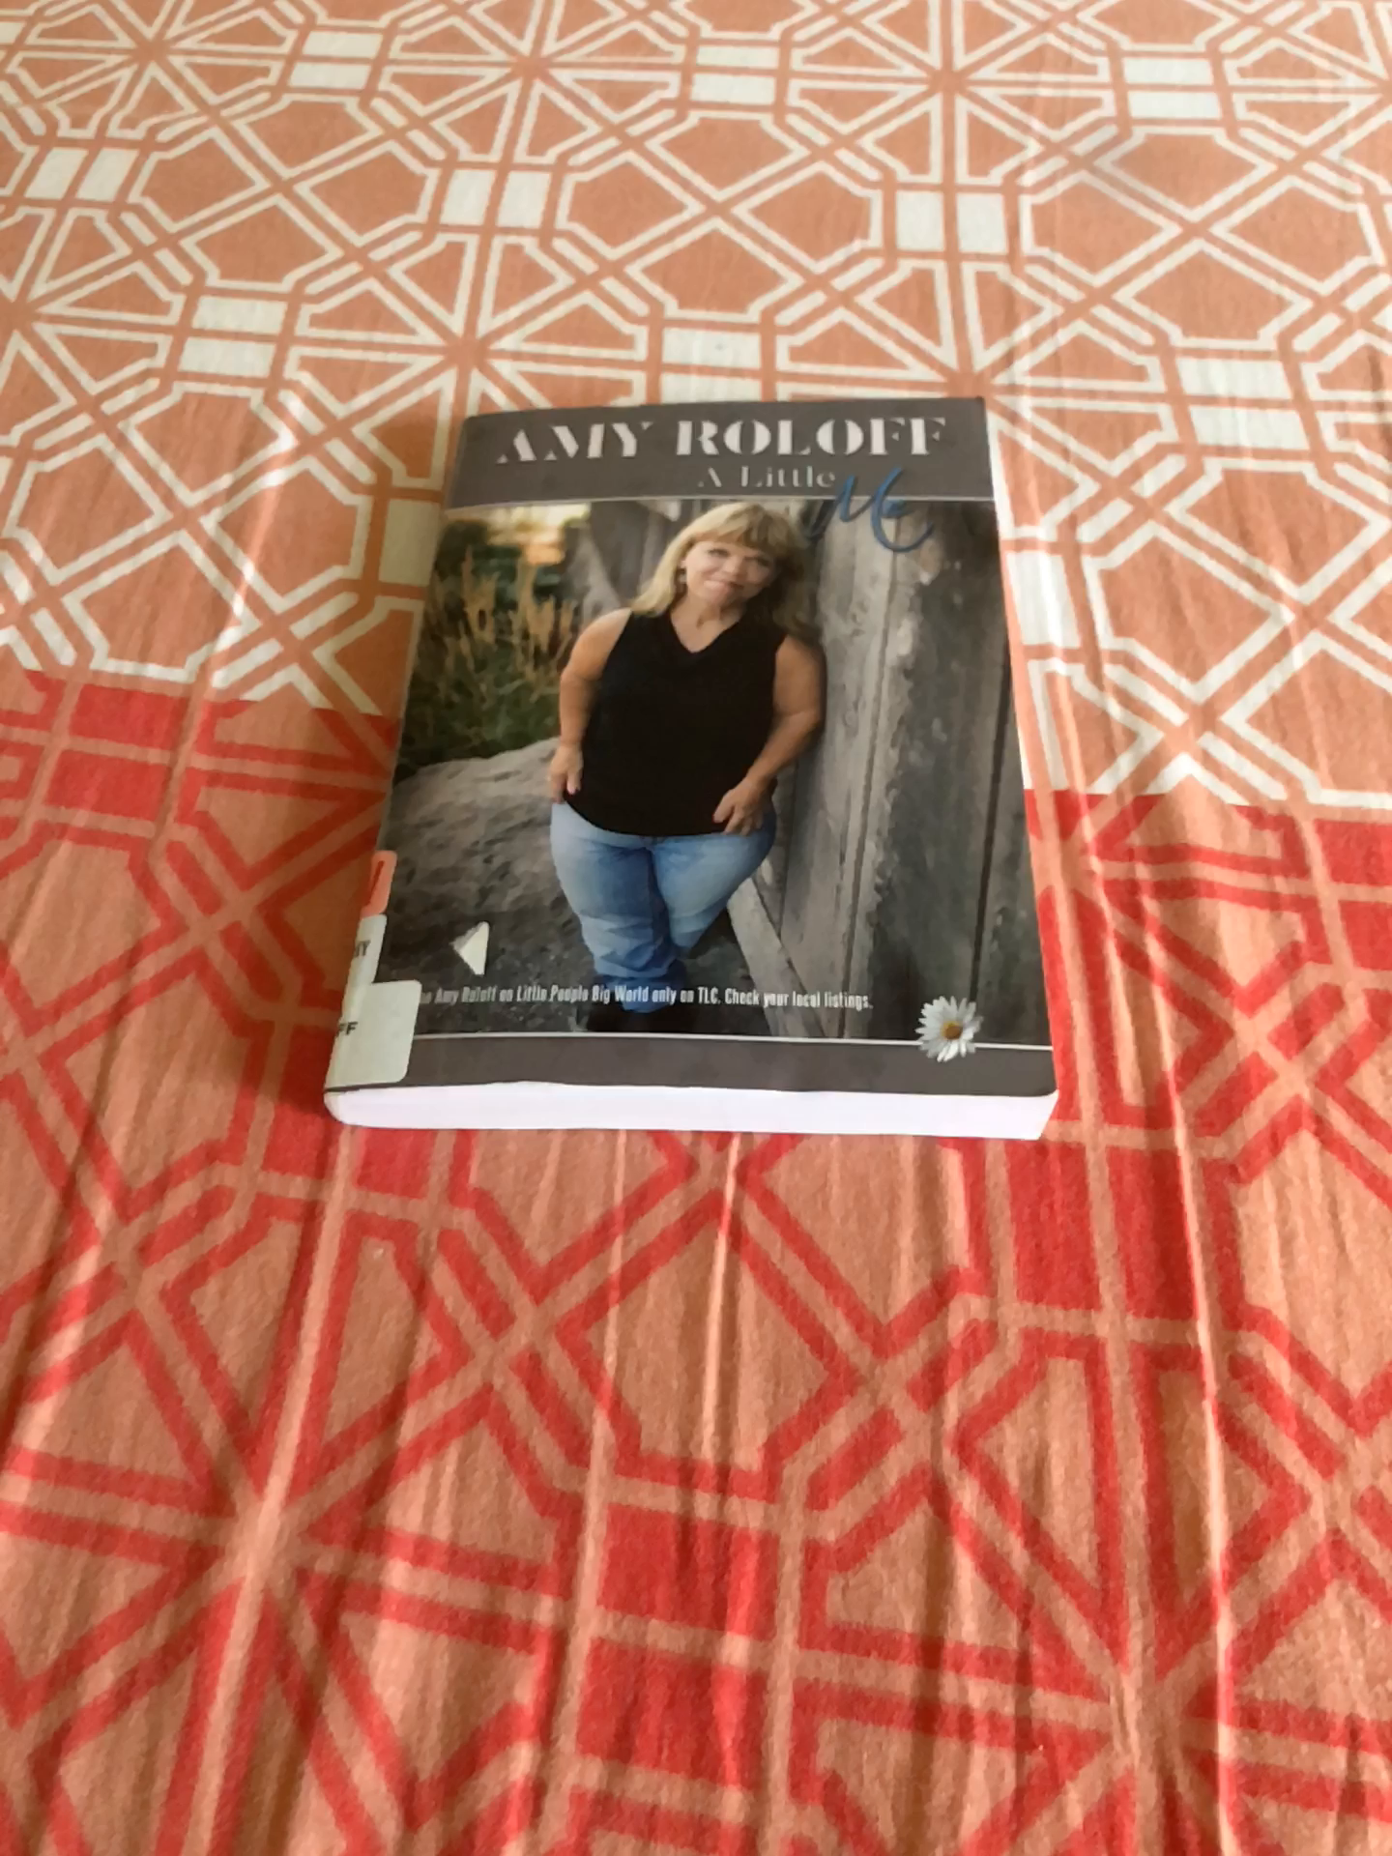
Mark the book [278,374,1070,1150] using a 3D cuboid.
[{"bbox_3d":[-0.001,-0.052,0.378,0.158,0.030,0.215,0,57,4],"label":"book"}]
